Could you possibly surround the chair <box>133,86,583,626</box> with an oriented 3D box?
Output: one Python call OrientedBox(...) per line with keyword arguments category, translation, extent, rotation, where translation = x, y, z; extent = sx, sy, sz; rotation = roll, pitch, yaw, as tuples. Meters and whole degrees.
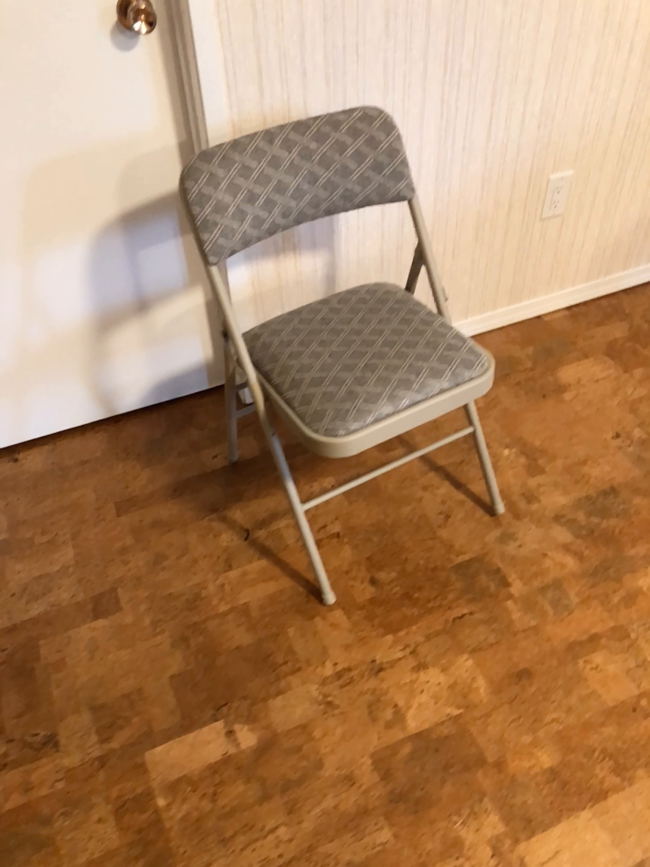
OrientedBox(category="chair", translation=(0.036, -0.150, 1.395), extent=(0.490, 0.758, 0.561), rotation=(-24, 48, -20))
